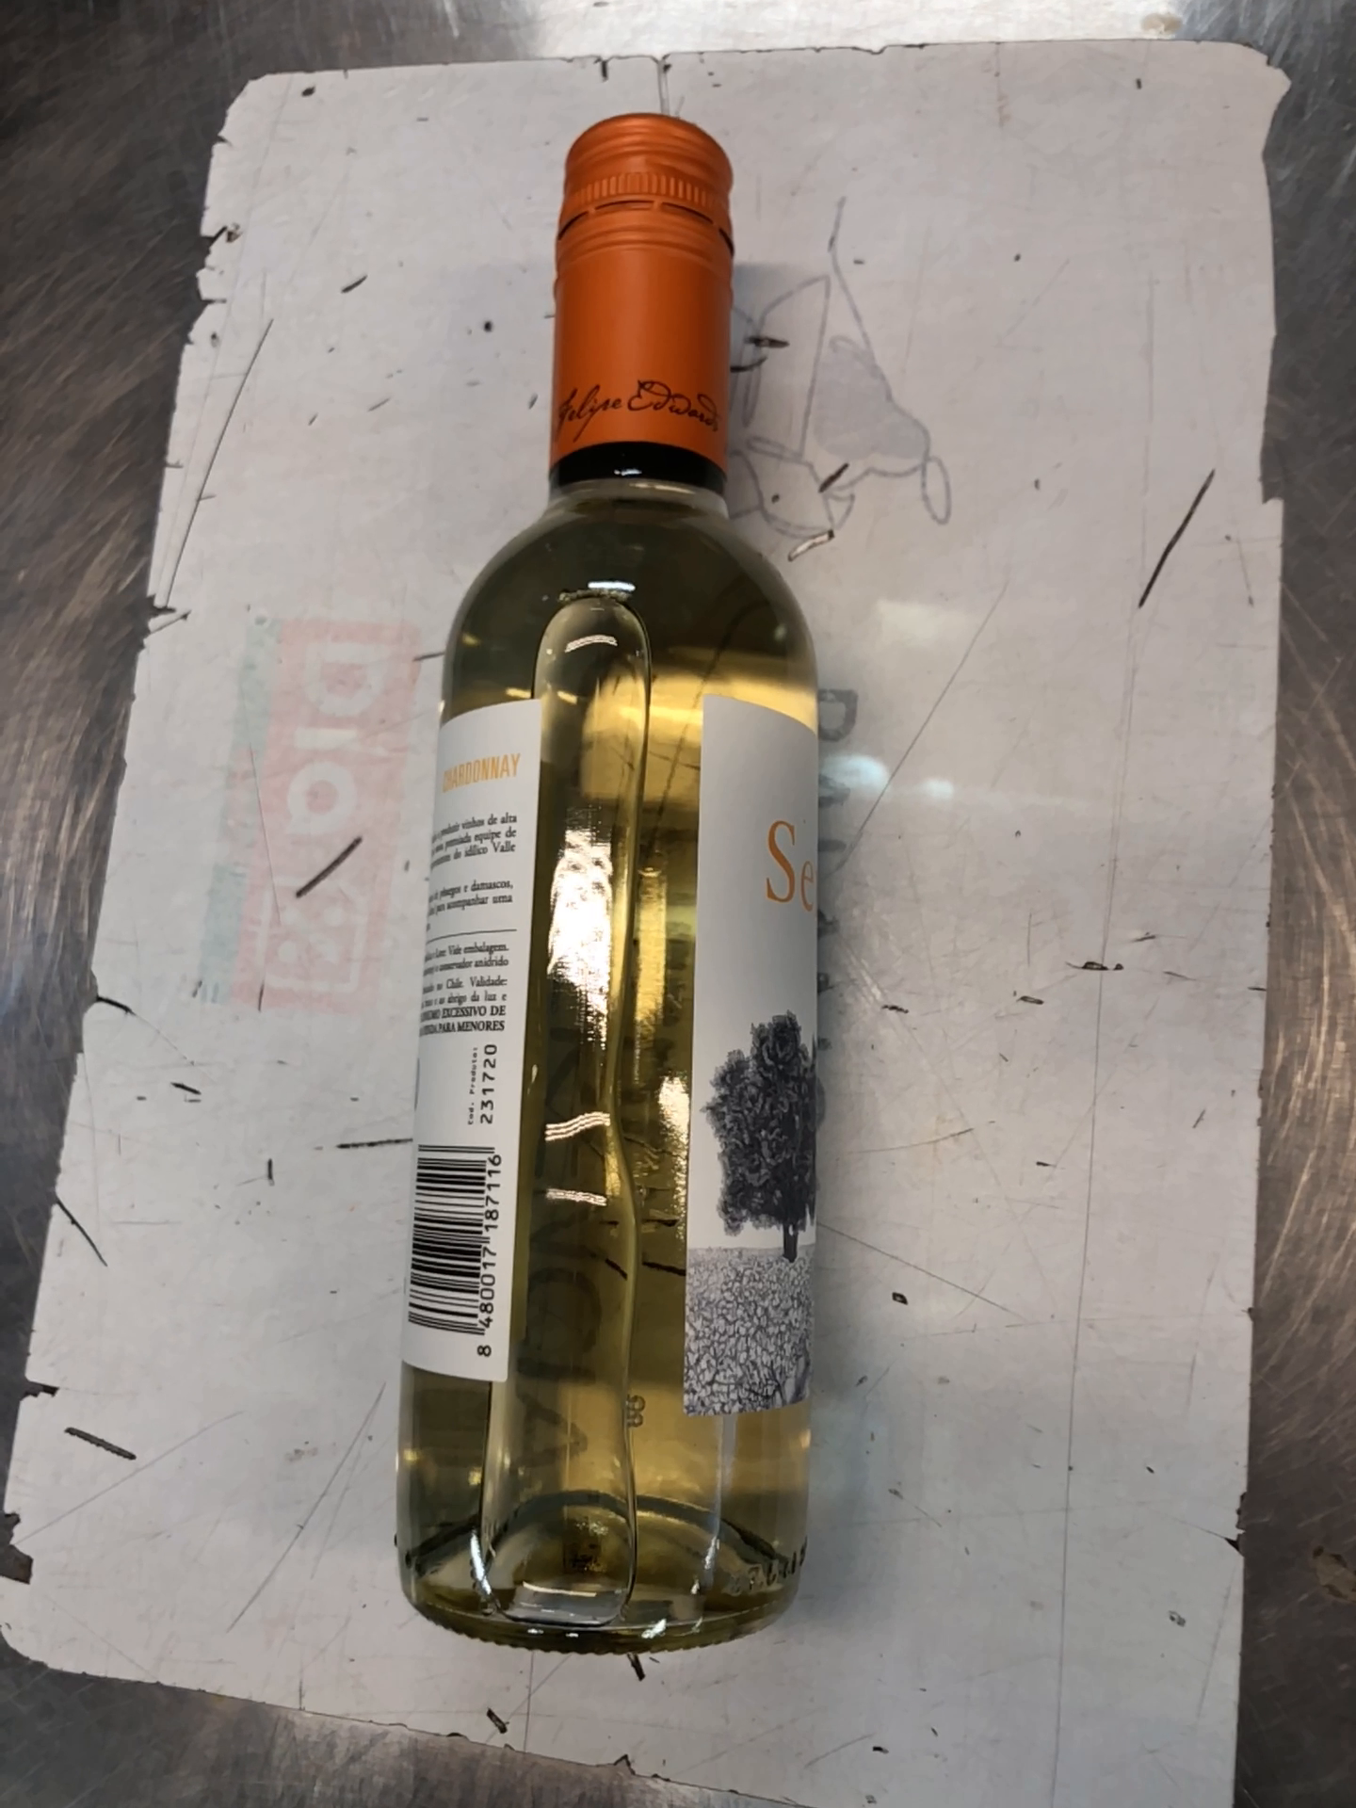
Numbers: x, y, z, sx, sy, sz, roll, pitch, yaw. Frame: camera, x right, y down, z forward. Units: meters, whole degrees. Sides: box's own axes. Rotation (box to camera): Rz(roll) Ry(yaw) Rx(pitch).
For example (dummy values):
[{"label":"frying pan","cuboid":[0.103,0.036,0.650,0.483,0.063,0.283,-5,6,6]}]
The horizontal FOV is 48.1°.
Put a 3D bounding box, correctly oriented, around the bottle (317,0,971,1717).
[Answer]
[{"label":"bottle","cuboid":[-0.006,-0.027,0.245,0.070,0.070,0.270,6,82,-10]}]
